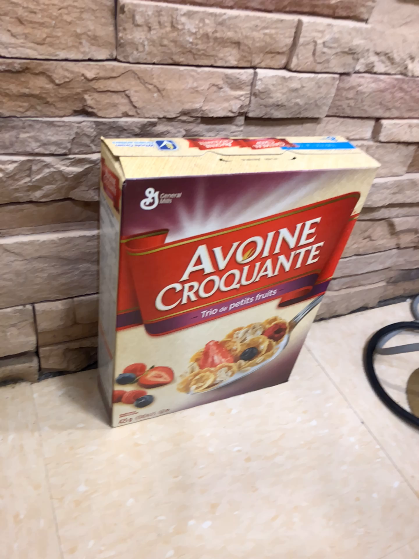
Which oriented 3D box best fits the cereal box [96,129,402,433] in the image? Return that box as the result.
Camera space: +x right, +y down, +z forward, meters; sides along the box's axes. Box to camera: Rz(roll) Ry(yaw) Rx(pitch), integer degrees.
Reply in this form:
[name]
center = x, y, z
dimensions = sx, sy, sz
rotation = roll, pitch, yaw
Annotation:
[cereal box]
center = 0.013, 0.007, 0.384
dimensions = 0.200, 0.248, 0.060
rotation = -8, 43, -23
